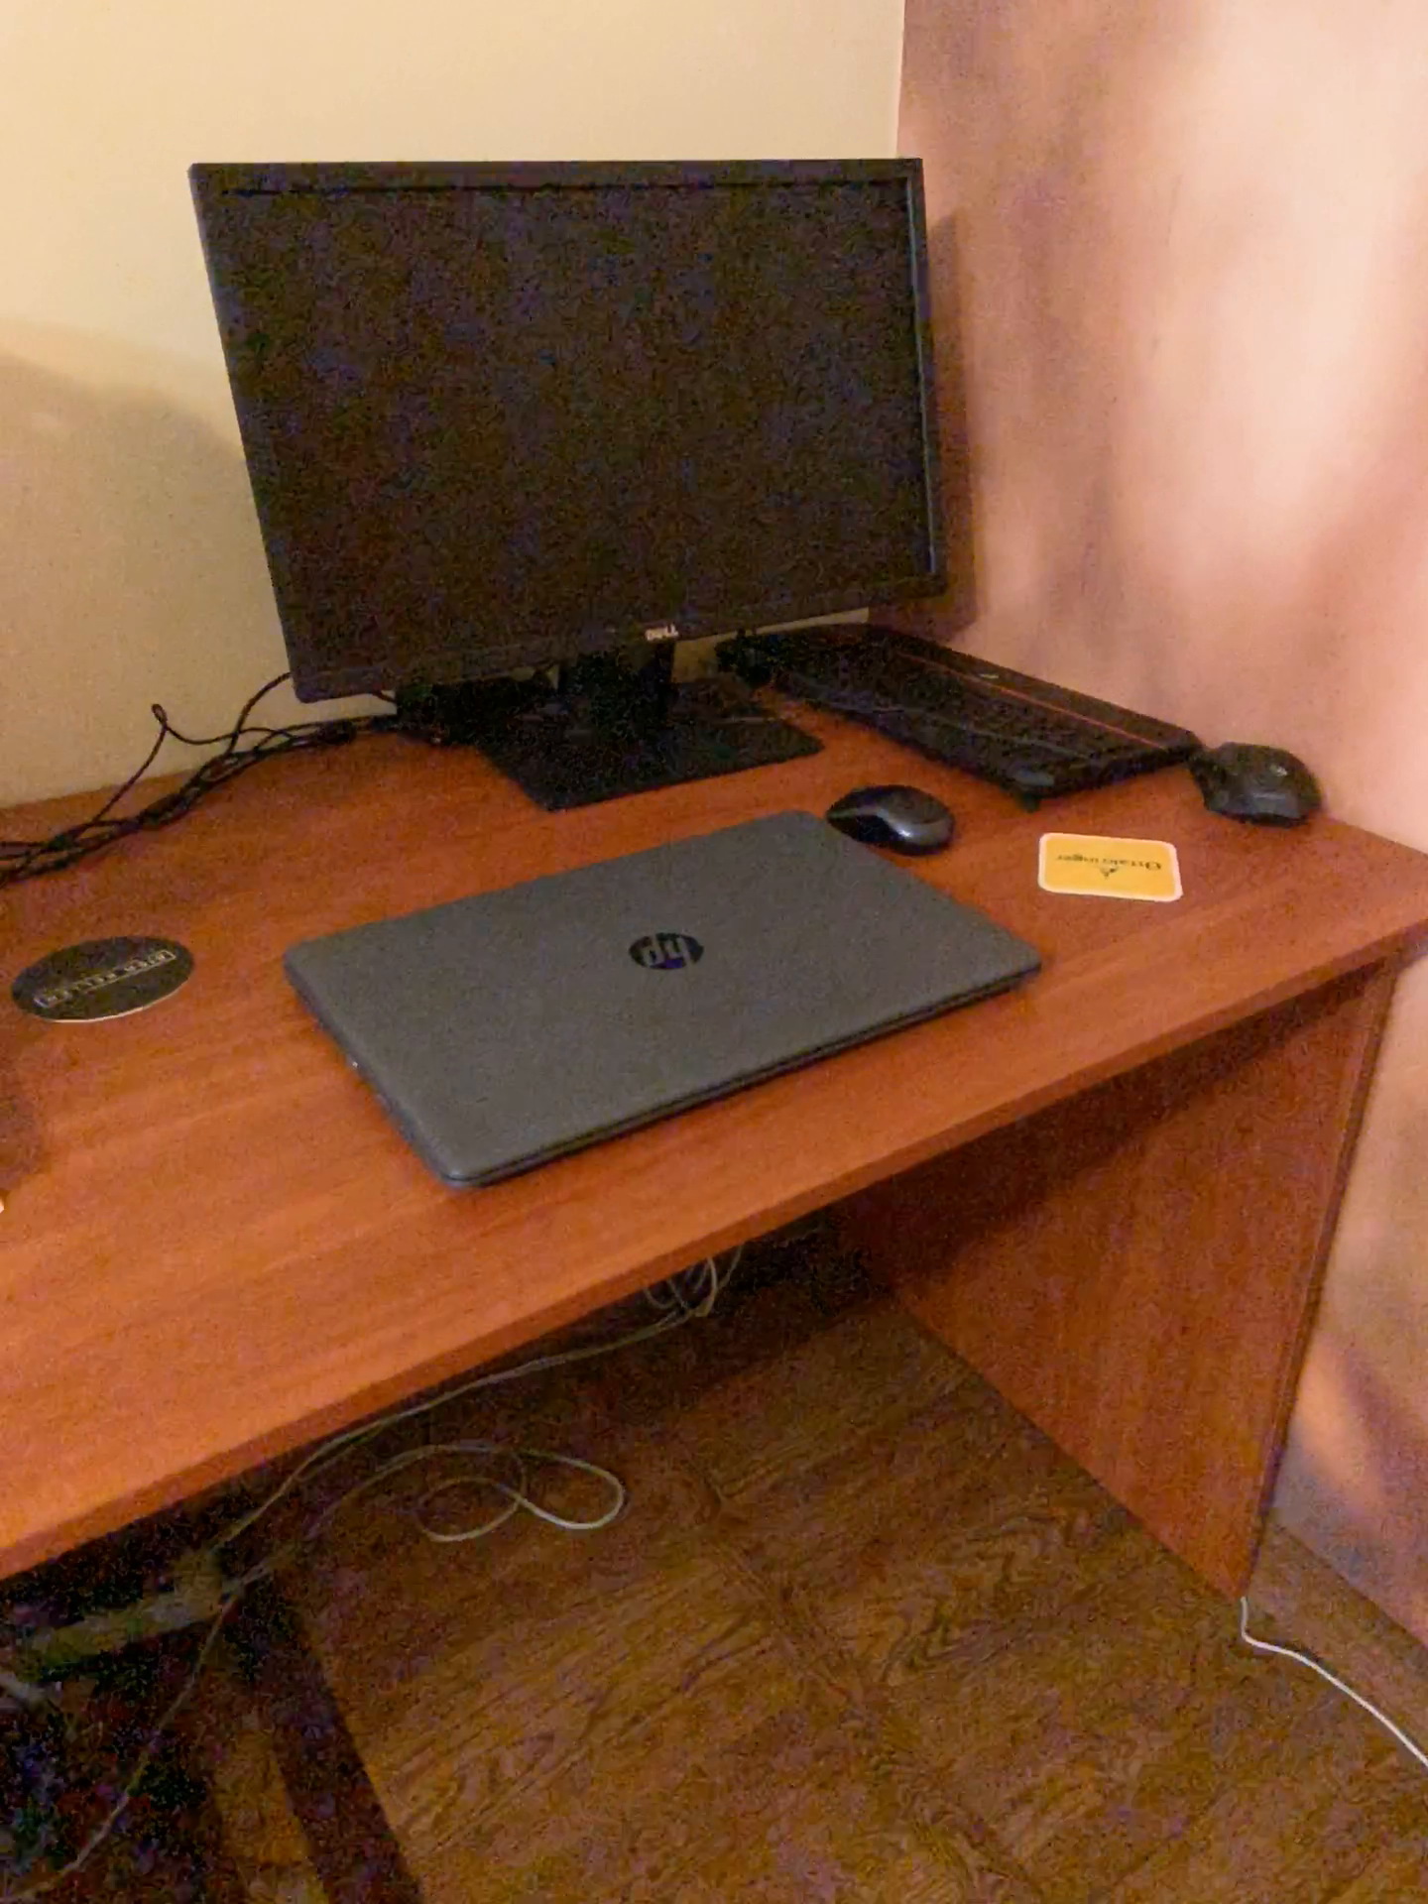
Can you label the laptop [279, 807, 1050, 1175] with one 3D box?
[{"bbox_3d":[-0.030,0.001,0.841,0.369,0.005,0.247,-18,34,-28],"label":"laptop"}]
